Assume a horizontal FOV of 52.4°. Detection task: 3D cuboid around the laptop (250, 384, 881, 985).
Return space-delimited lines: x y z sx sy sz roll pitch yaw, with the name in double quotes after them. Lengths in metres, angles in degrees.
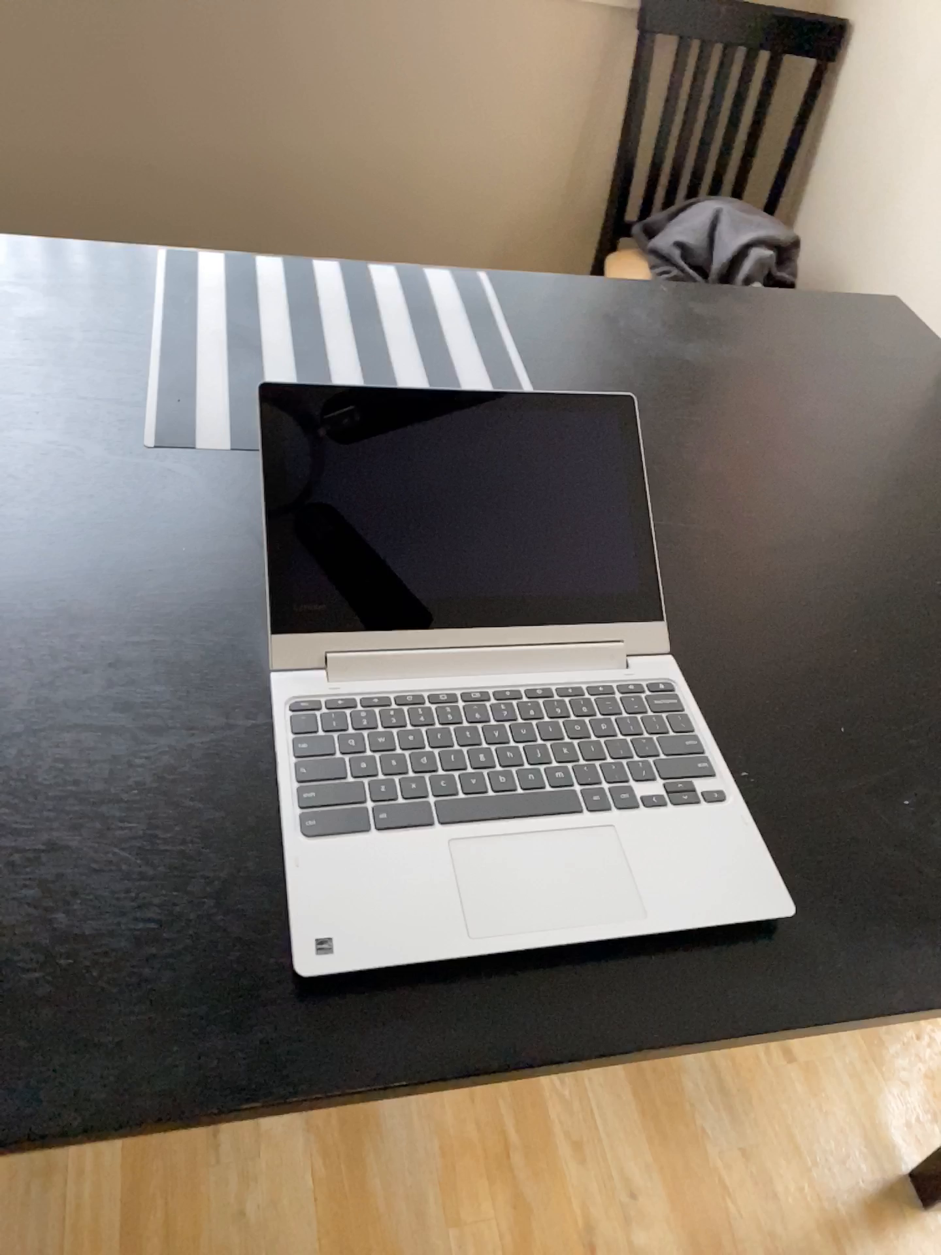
0.017 -0.001 0.600 0.285 0.106 0.382 -2 45 -15 "laptop"
